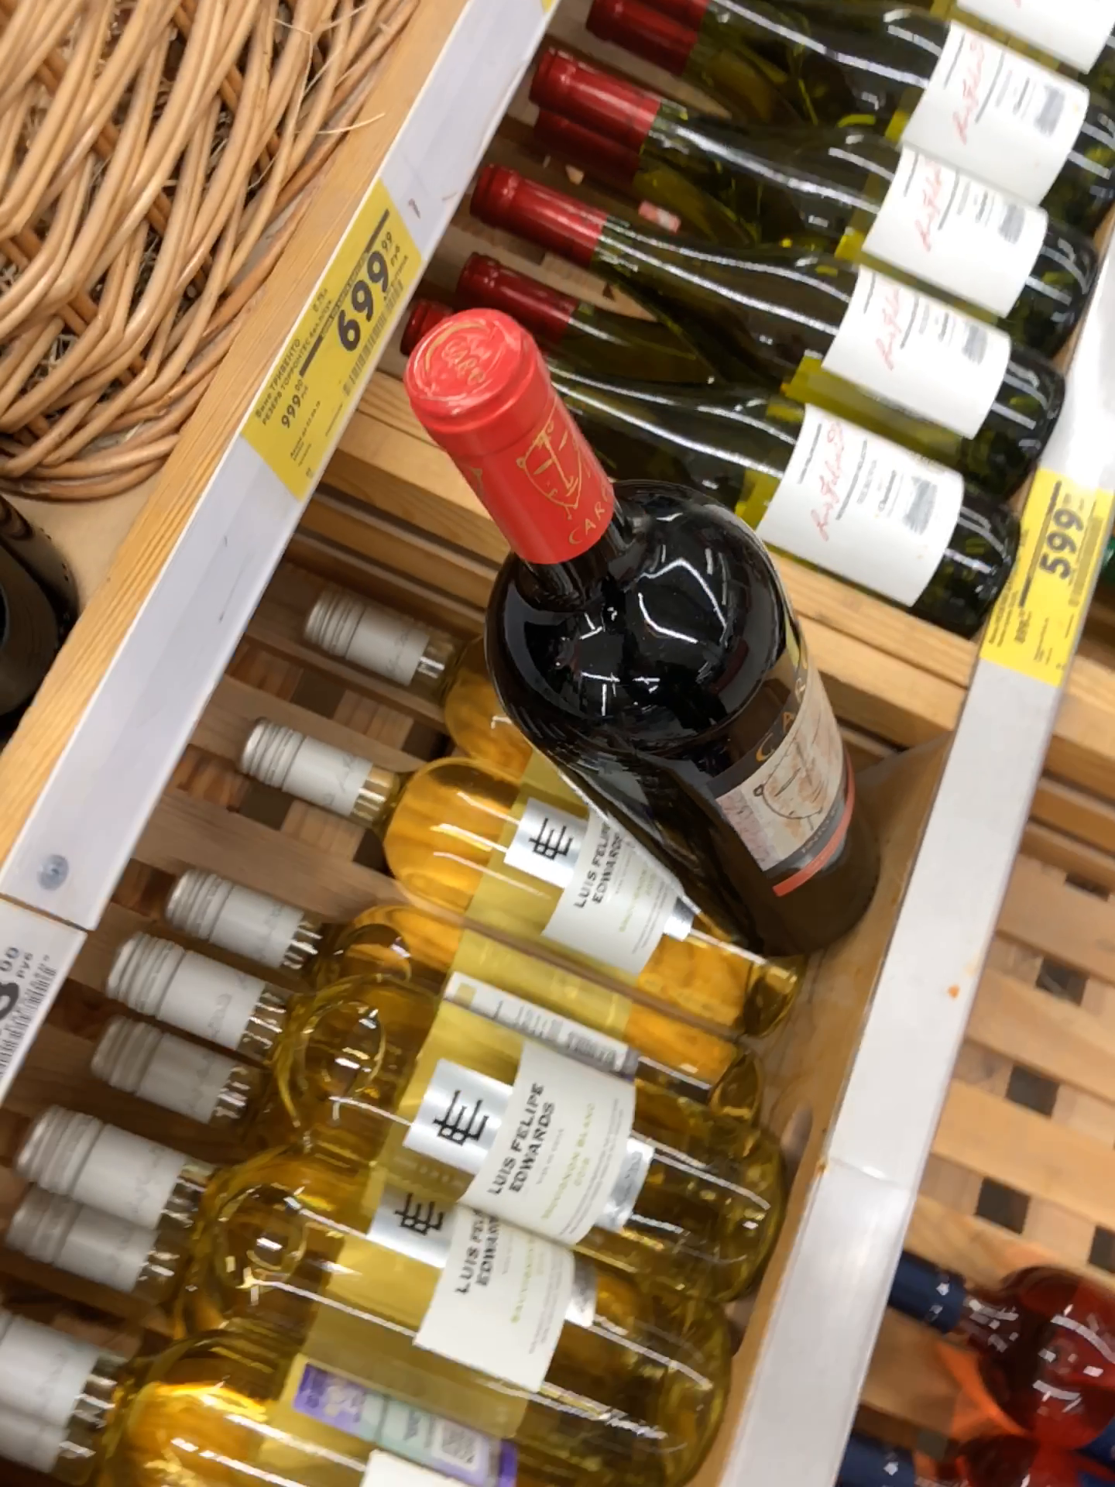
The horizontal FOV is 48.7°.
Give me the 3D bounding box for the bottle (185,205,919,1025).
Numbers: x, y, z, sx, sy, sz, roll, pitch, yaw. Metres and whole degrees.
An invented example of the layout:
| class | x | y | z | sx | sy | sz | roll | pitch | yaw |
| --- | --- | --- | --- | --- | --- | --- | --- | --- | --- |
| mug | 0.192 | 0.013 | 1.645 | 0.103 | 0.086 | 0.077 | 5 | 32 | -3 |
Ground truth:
| class | x | y | z | sx | sy | sz | roll | pitch | yaw |
| --- | --- | --- | --- | --- | --- | --- | --- | --- | --- |
| bottle | 0.040 | -0.007 | 0.428 | 0.100 | 0.359 | 0.100 | -10 | 62 | 19 |
